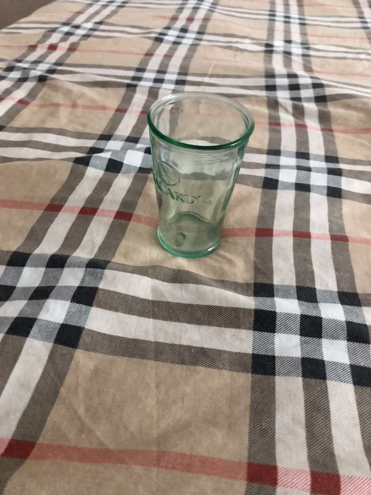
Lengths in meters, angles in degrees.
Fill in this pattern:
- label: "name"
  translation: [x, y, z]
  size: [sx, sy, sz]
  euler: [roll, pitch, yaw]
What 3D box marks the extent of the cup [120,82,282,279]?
- label: "cup"
  translation: [0.008, -0.056, 0.334]
  size: [0.085, 0.112, 0.082]
  euler: [2, 43, -2]
